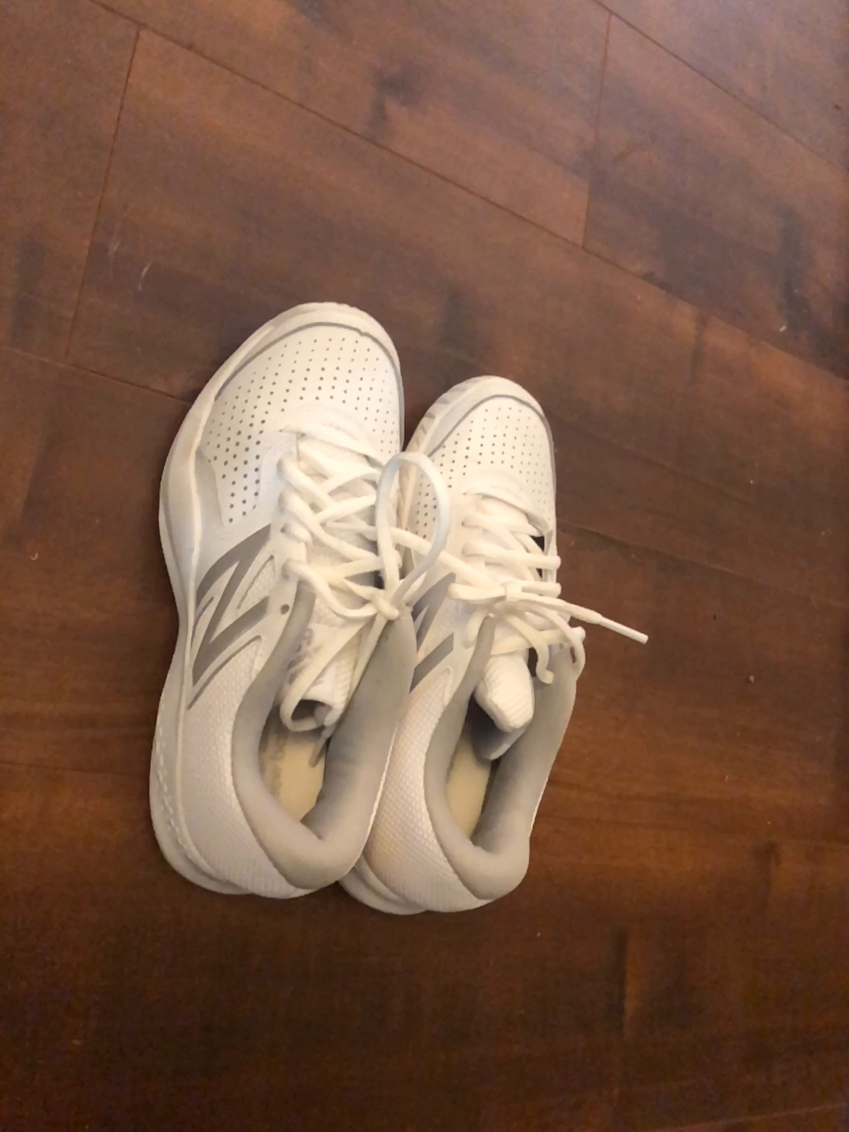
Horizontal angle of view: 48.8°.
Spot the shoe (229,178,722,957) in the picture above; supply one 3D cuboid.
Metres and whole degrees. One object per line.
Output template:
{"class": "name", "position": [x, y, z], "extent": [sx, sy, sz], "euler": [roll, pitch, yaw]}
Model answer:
{"class": "shoe", "position": [0.022, 0.006, 0.469], "extent": [0.120, 0.170, 0.310], "euler": [18, 76, -27]}

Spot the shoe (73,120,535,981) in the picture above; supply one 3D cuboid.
{"class": "shoe", "position": [-0.052, -0.003, 0.406], "extent": [0.100, 0.130, 0.310], "euler": [16, 77, -30]}
